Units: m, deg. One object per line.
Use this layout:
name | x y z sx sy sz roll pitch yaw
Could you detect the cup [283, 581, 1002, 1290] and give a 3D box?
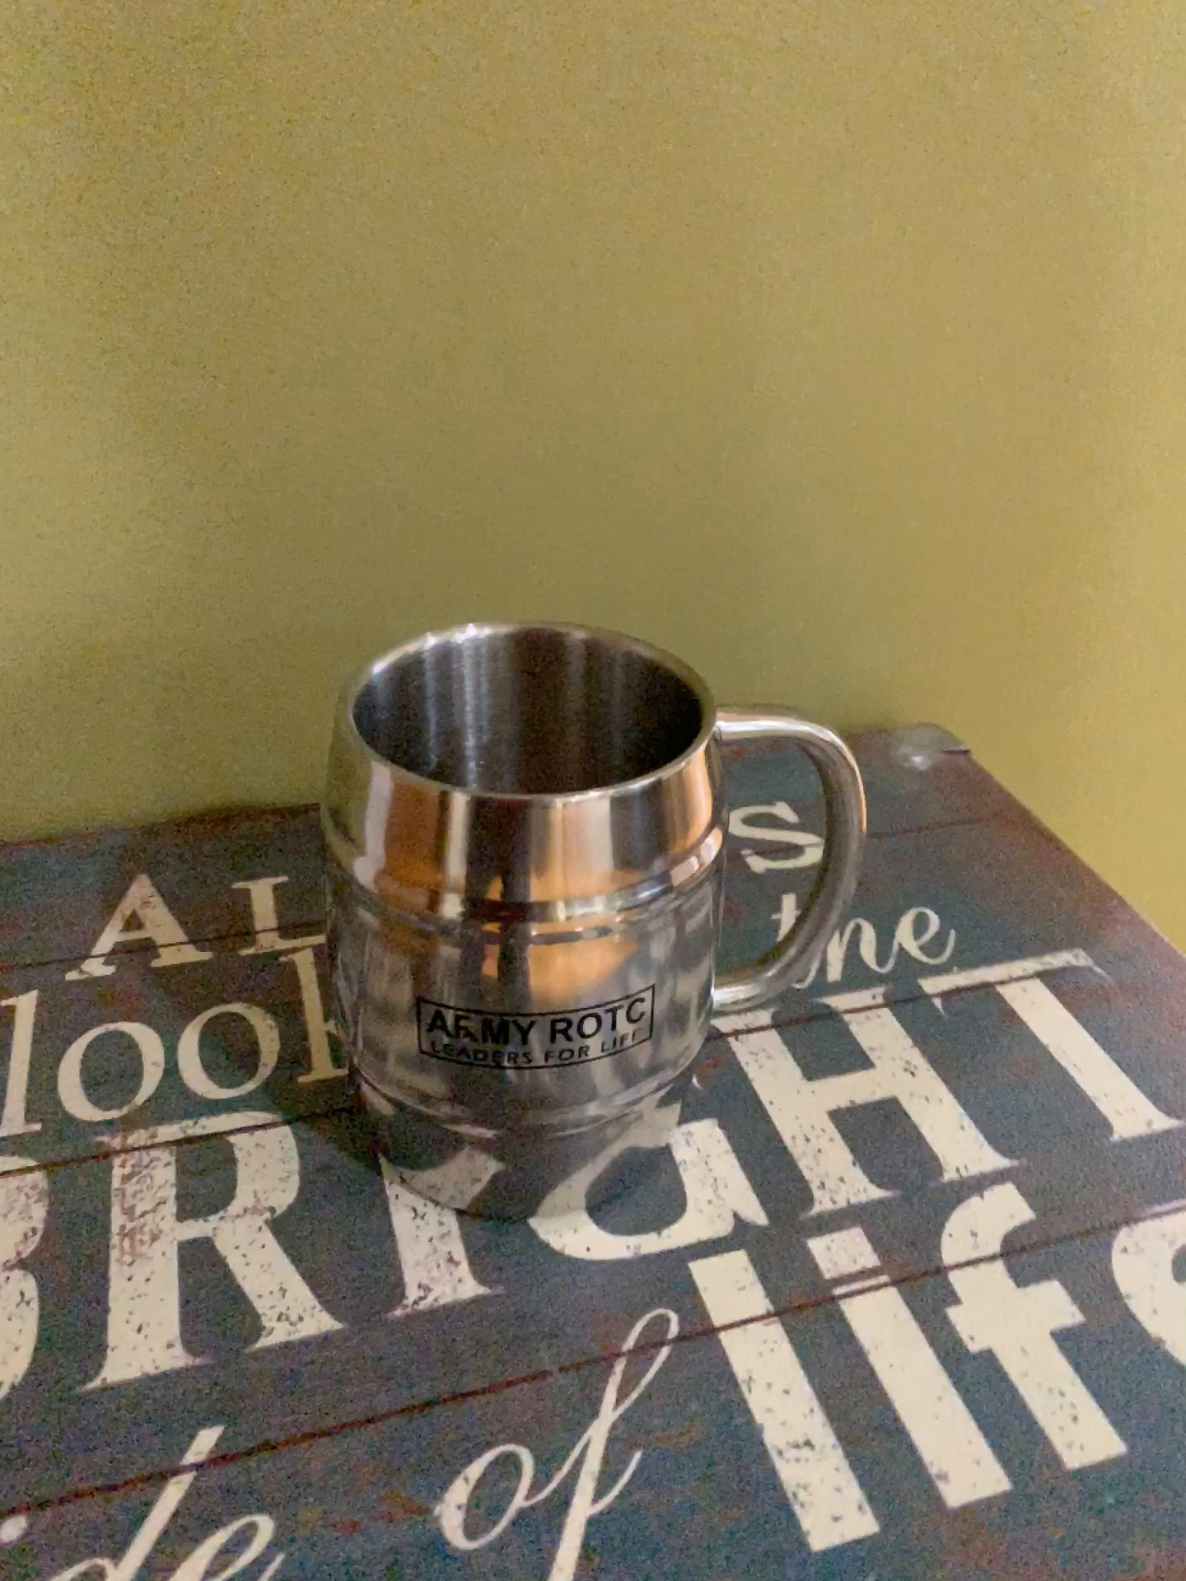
cup | 0.003 0.027 0.287 0.129 0.113 0.089 -8 33 -16
